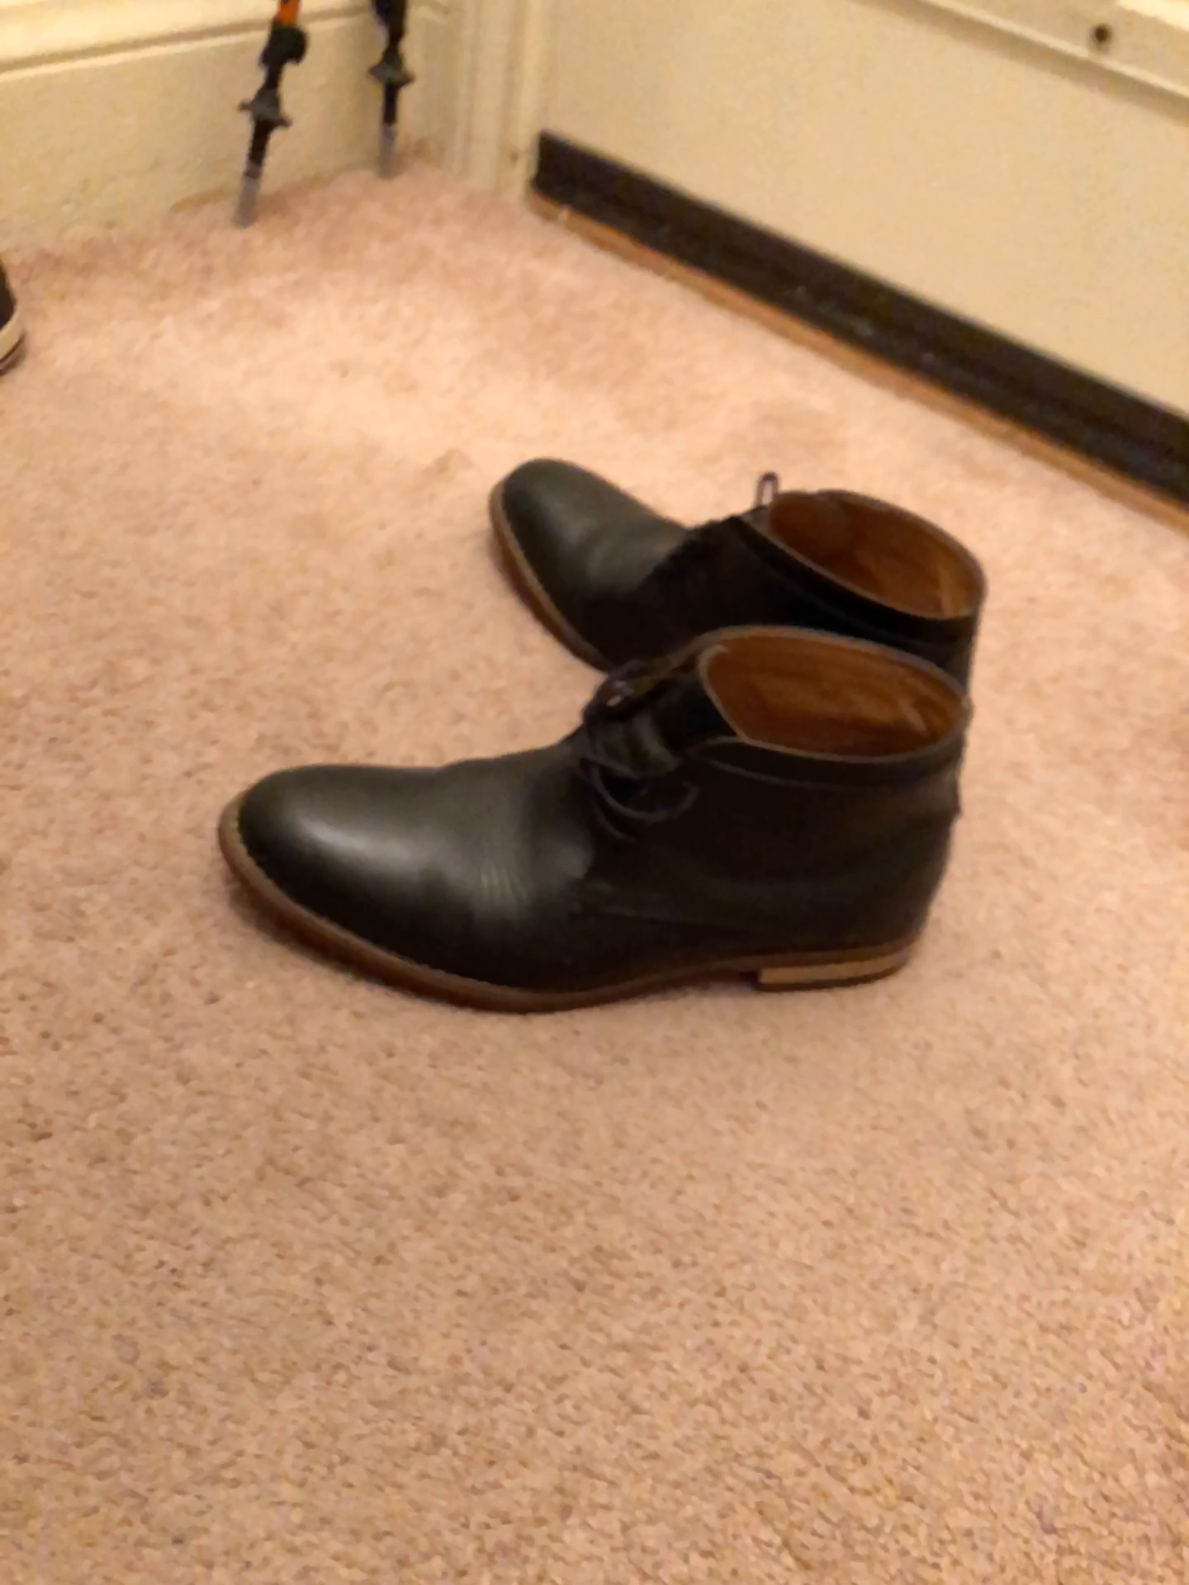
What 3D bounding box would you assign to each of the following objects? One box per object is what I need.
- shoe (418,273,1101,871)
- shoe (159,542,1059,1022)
[{"bbox_3d":[0.065,-0.120,0.659,0.302,0.135,0.117,36,49,22],"label":"shoe"},{"bbox_3d":[-0.003,0.000,0.521,0.302,0.135,0.117,1,46,-12],"label":"shoe"}]
